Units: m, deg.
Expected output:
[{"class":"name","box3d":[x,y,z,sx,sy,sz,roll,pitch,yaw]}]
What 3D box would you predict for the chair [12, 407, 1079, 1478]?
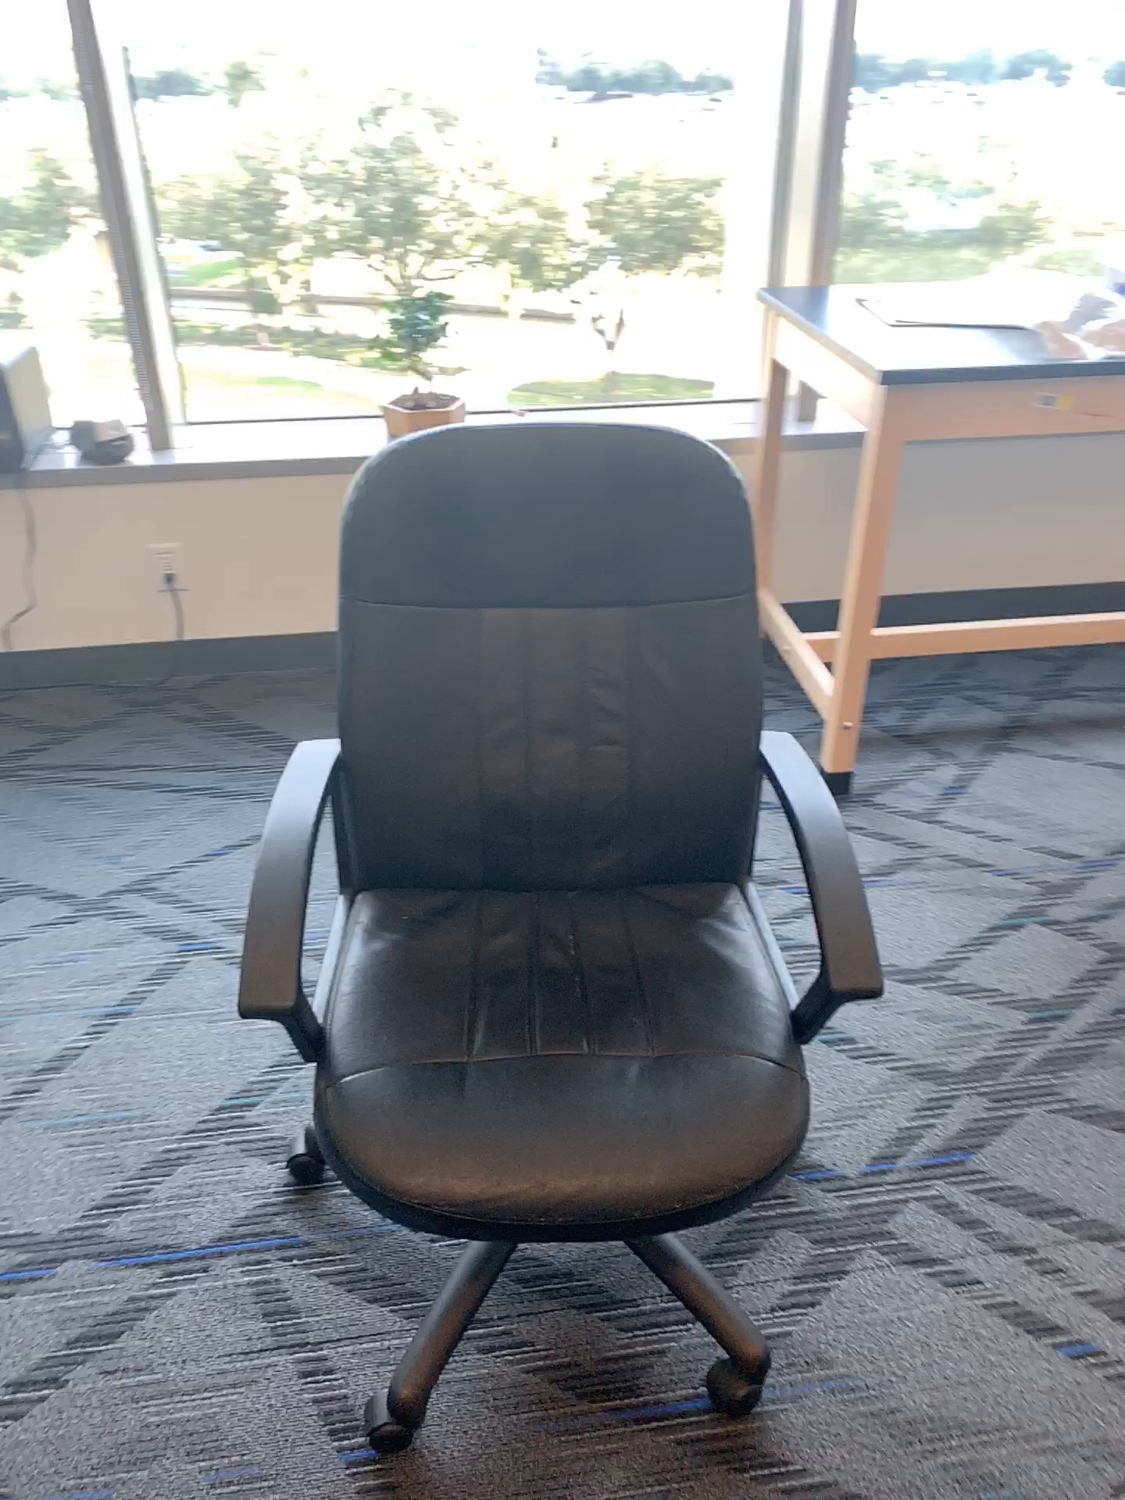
[{"class":"chair","box3d":[-0.022,0.169,1.273,0.700,0.892,0.696,-3,30,-3]}]
